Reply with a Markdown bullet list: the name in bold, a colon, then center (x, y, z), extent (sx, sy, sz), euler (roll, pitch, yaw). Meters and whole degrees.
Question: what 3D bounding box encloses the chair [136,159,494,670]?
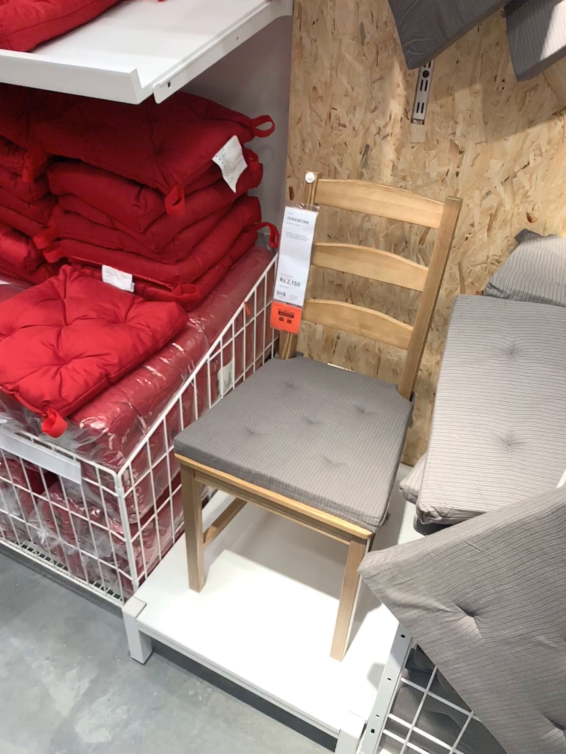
- **chair**: center (0.071, 0.078, 1.231), extent (0.440, 0.866, 0.502), euler (18, 39, 20)
